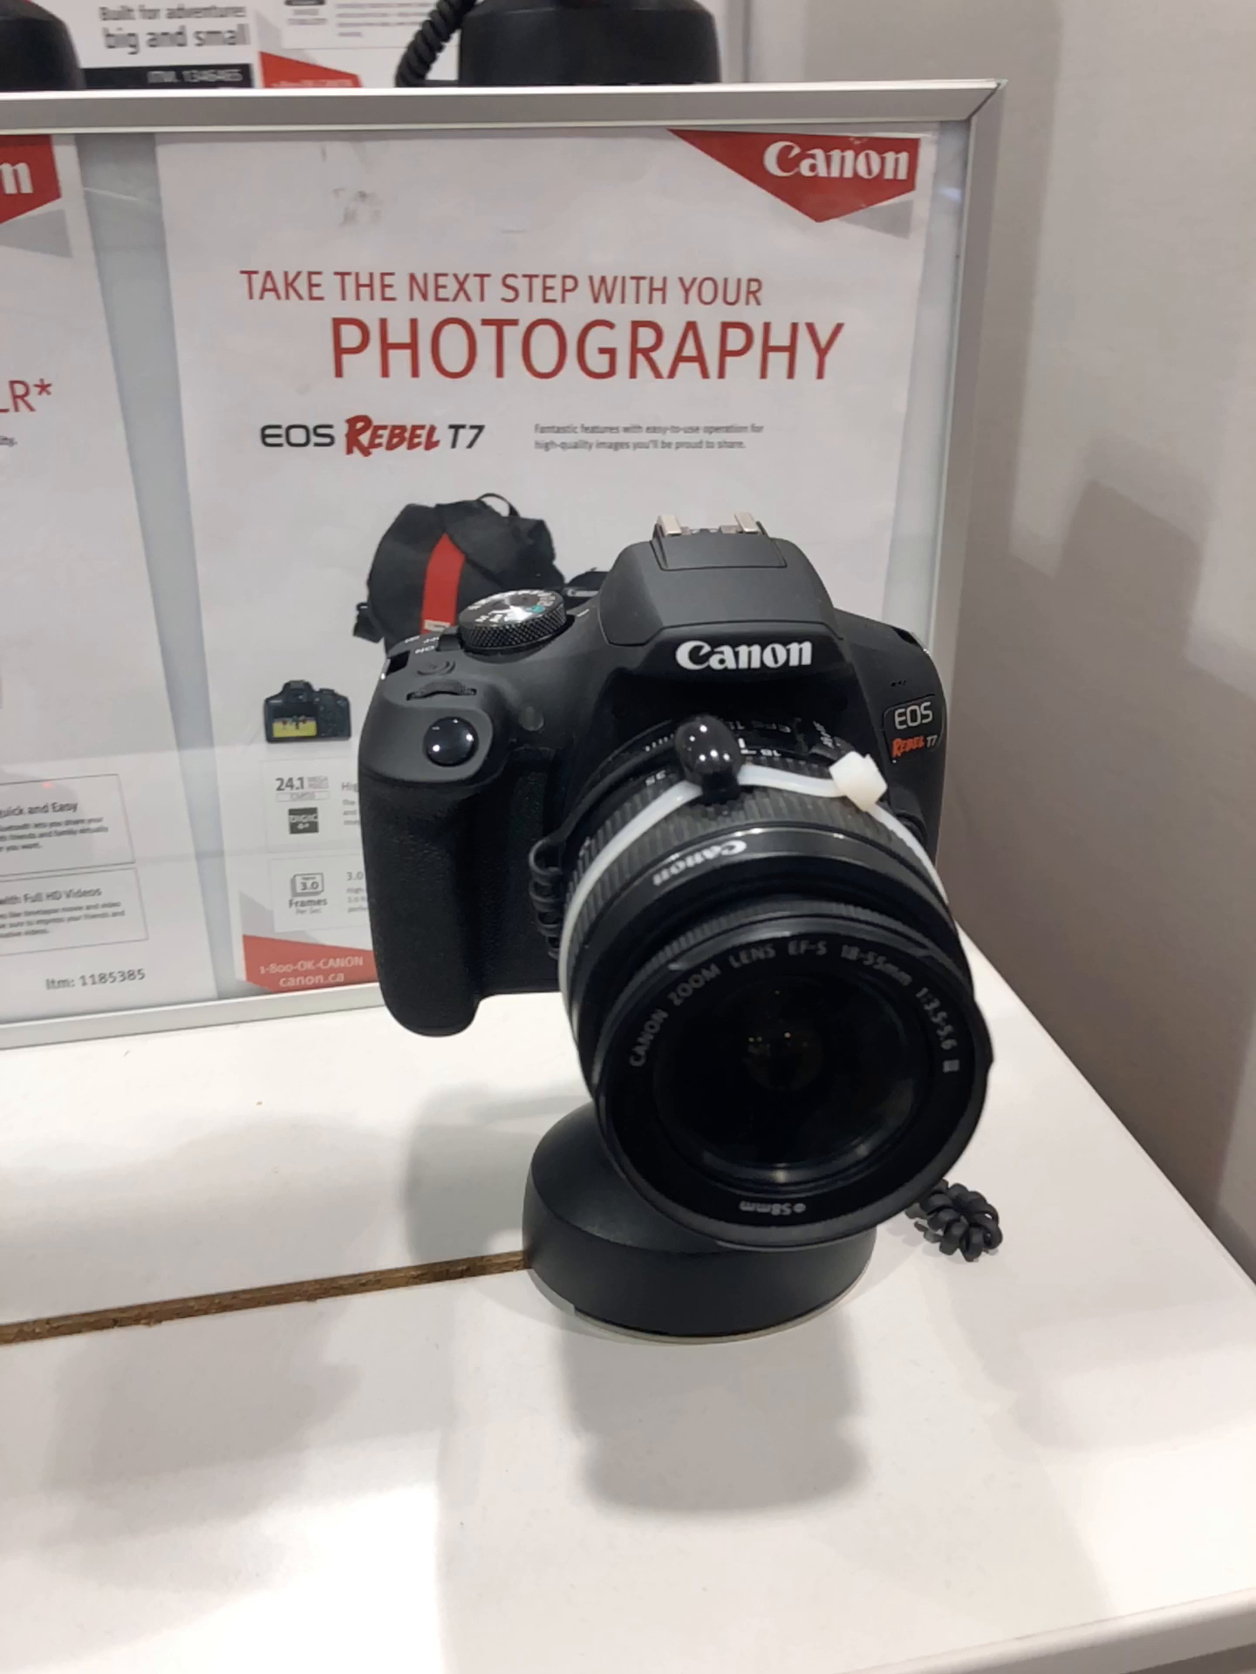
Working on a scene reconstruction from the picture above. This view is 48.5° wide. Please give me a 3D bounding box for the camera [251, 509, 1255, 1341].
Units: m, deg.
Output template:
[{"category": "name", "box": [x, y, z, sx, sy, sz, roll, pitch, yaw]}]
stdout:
[{"category": "camera", "box": [0.014, 0.001, 0.270, 0.140, 0.090, 0.151, -4, 25, -5]}]
